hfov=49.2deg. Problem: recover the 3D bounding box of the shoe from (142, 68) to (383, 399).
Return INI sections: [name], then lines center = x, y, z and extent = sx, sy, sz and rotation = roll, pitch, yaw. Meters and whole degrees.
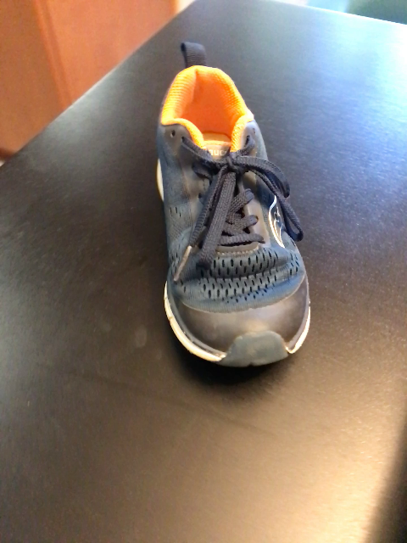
[shoe]
center = 0.016, -0.035, 0.260
extent = 0.084, 0.072, 0.187
rotation = -7, 51, -6
